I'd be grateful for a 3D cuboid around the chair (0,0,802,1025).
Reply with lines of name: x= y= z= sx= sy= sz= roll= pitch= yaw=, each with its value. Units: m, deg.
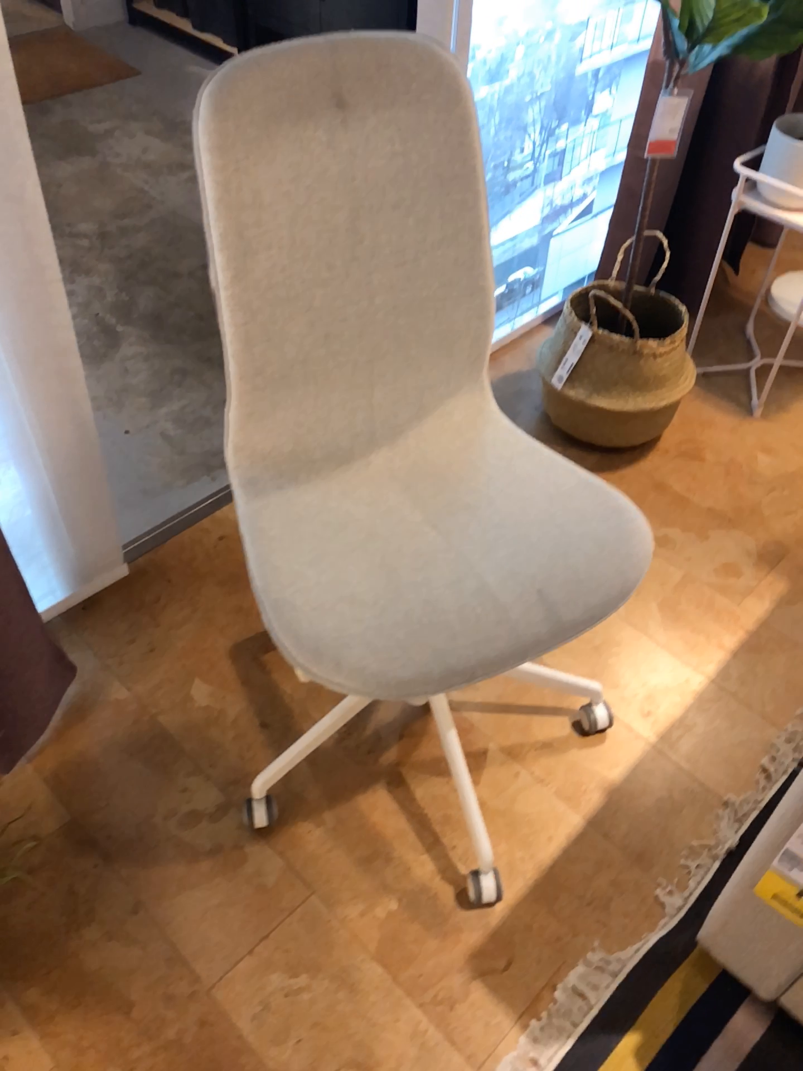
chair: x=0.024 y=-0.031 z=1.139 sx=0.671 sy=0.936 sz=0.692 roll=-24 pitch=52 yaw=-24
